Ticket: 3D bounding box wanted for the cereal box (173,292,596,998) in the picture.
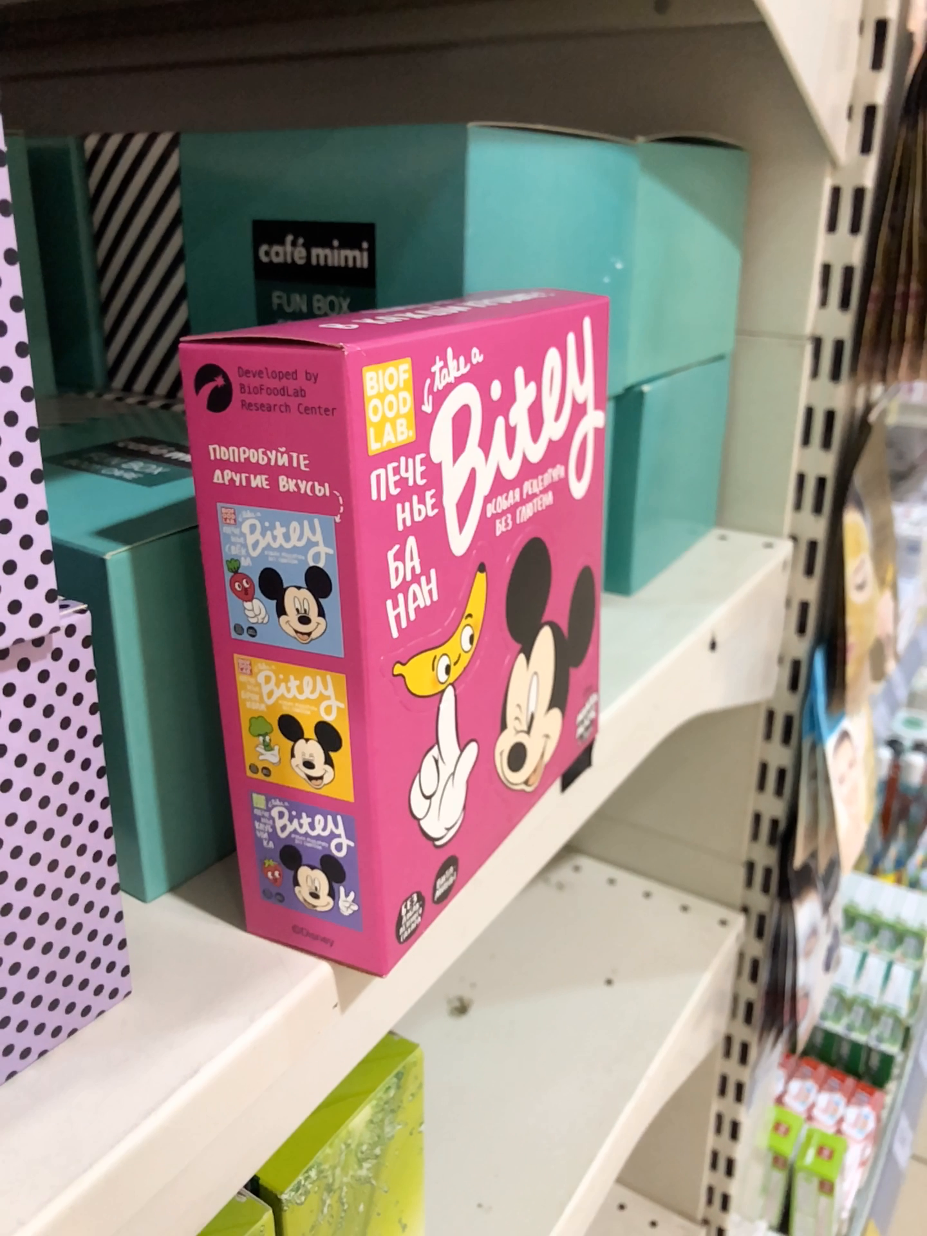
[{"bbox_3d":[-0.009,-0.007,0.282,0.040,0.149,0.141,9,22,25],"label":"cereal box"}]
